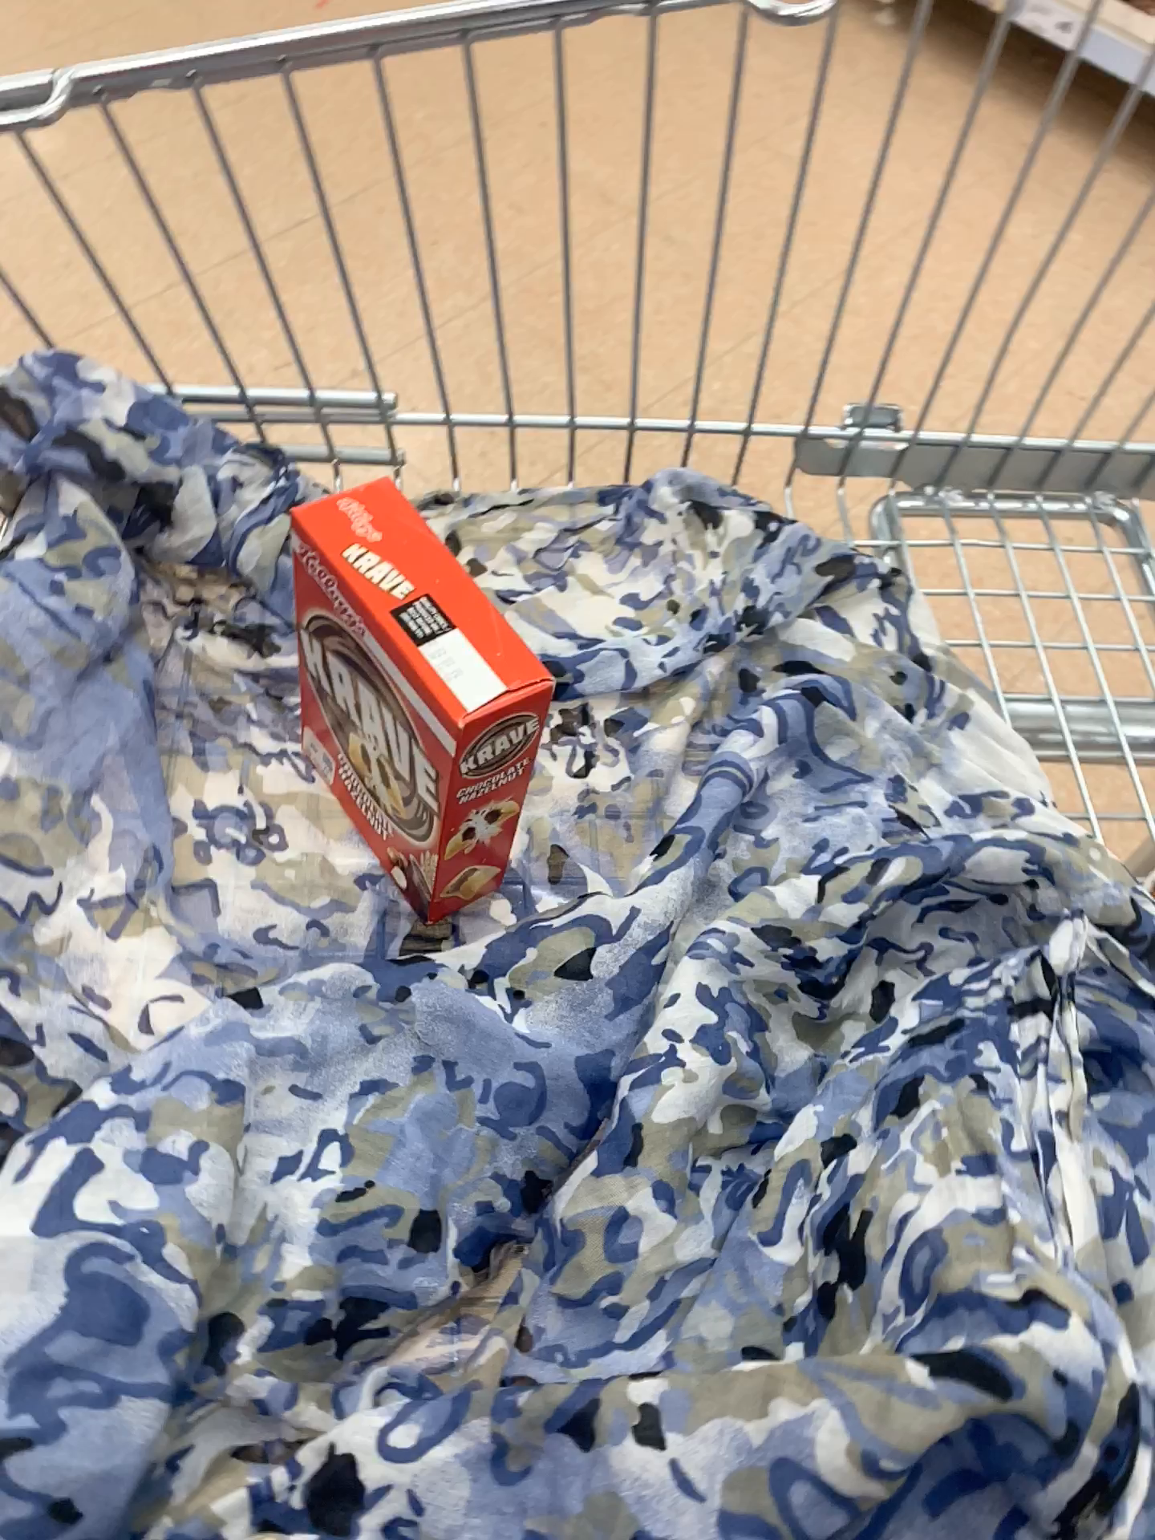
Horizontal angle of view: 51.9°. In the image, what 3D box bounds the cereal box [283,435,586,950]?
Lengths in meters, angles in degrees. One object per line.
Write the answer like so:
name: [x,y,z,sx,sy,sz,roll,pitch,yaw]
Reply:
cereal box: [-0.053,-0.017,0.385,0.040,0.149,0.090,-28,67,-26]
